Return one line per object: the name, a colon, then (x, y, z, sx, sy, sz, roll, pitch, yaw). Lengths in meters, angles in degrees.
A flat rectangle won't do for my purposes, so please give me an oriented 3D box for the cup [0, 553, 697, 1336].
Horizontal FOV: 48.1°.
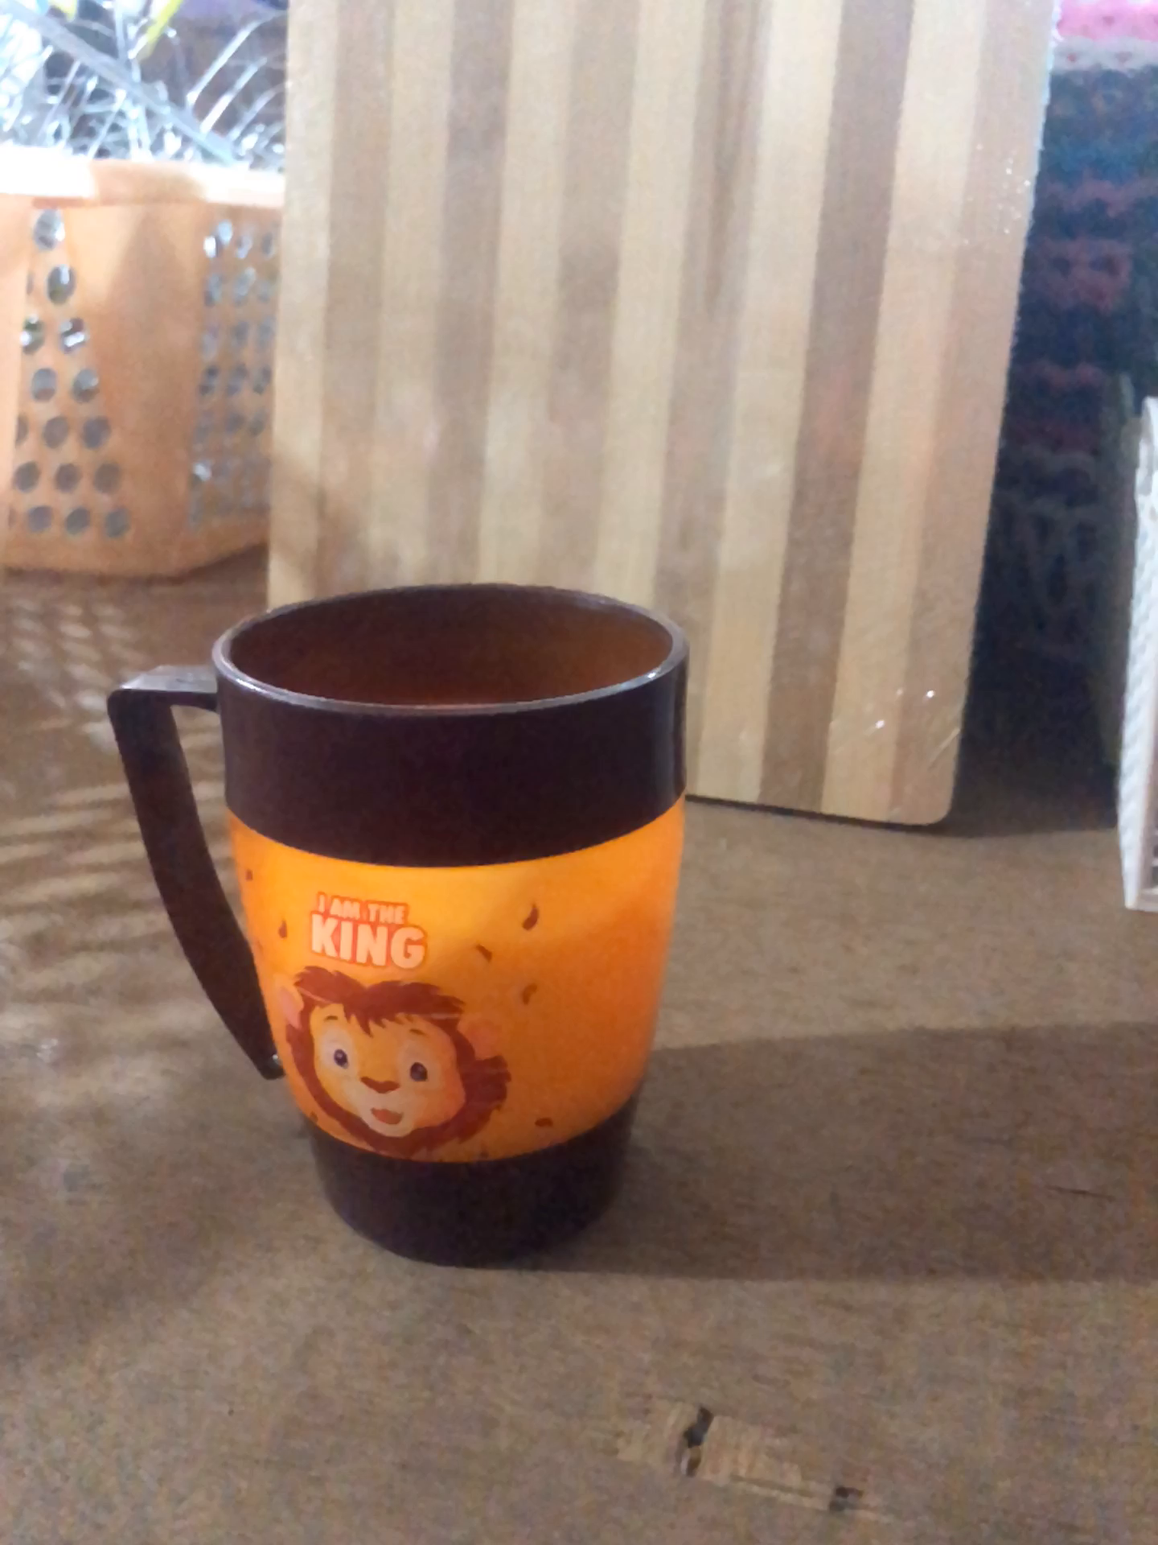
cup: (-0.039, 0.019, 0.206, 0.100, 0.090, 0.060, 7, 23, 19)
